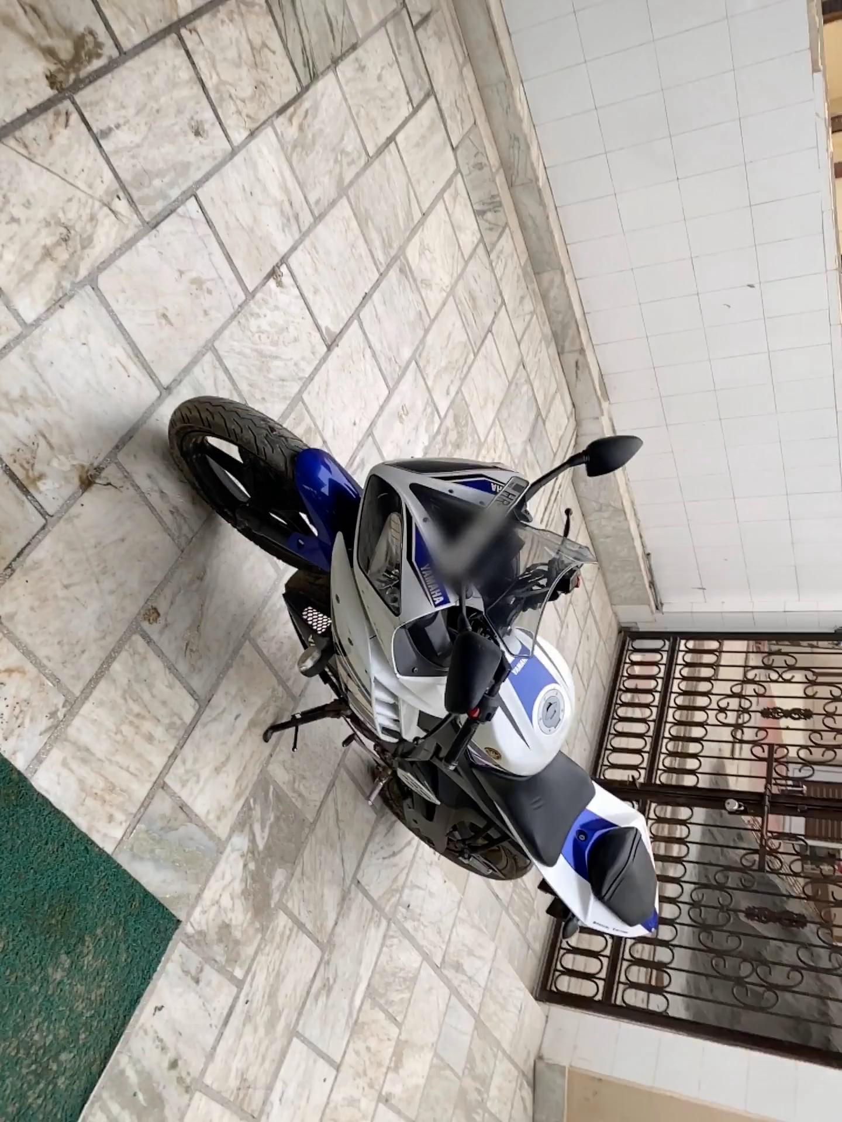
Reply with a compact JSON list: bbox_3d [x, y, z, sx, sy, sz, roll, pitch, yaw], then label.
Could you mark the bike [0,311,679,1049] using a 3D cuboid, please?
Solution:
[{"bbox_3d":[-0.073,0.421,2.304,1.888,0.902,0.735,60,39,-33],"label":"bike"}]
